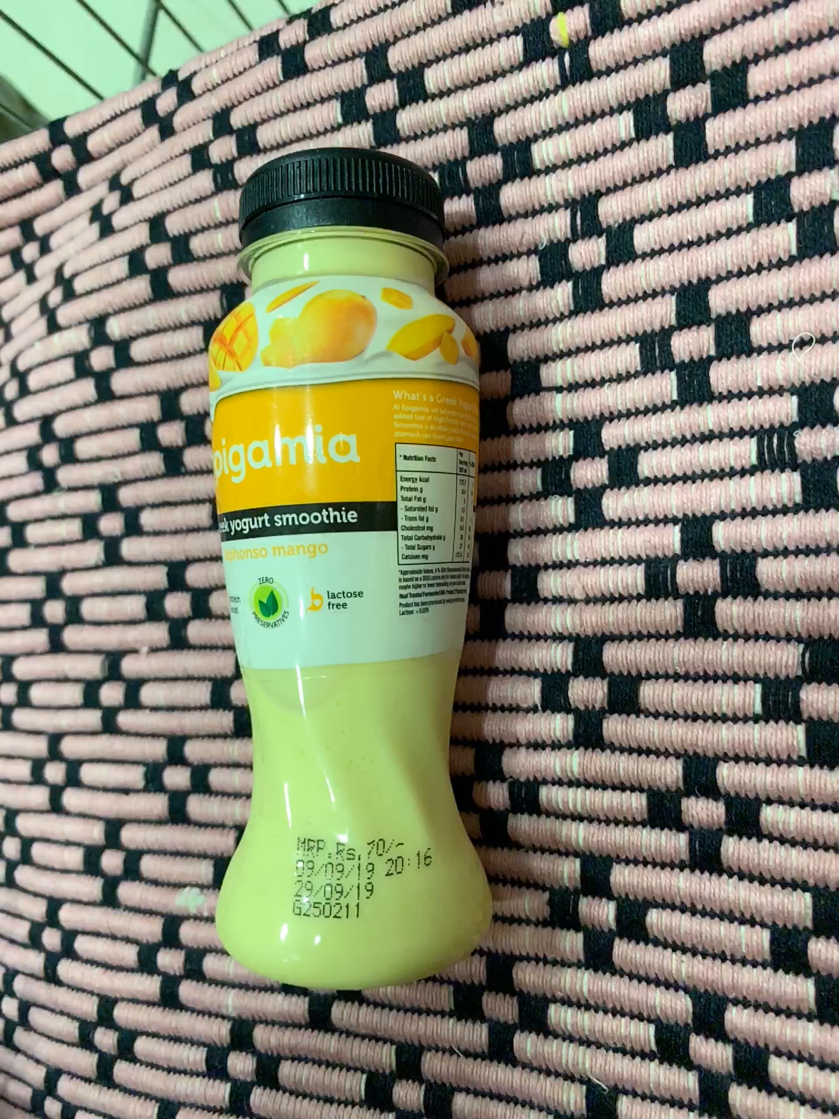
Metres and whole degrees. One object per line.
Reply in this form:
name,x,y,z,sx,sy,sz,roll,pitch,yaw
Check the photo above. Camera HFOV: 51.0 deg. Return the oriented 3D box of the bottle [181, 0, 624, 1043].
bottle,-0.004,-0.007,0.174,0.060,0.060,0.160,-4,85,40
